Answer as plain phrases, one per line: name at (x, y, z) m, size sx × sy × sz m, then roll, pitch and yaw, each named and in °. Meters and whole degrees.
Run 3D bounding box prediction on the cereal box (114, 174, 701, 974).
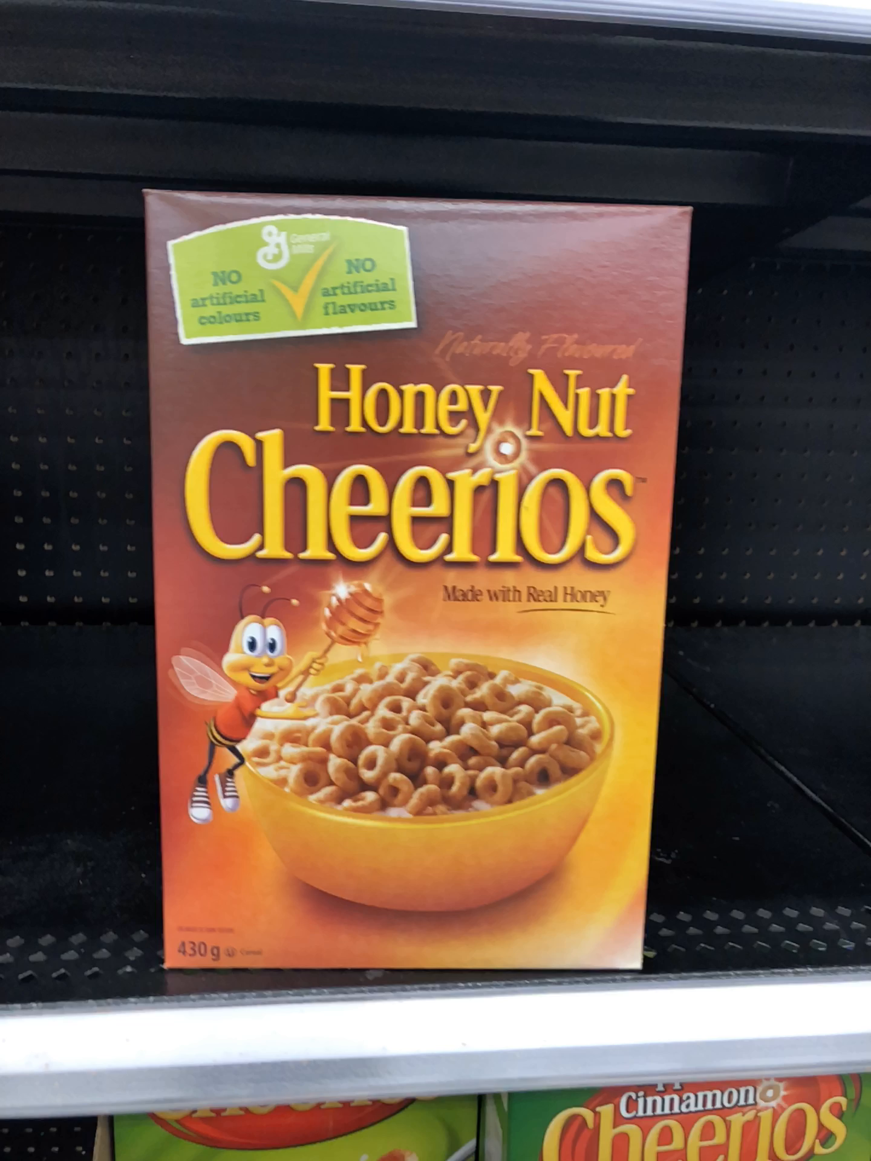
cereal box at (-0.013, 0.004, 0.390) m, size 0.200 × 0.299 × 0.070 m, roll 1°, pitch 11°, yaw -2°
